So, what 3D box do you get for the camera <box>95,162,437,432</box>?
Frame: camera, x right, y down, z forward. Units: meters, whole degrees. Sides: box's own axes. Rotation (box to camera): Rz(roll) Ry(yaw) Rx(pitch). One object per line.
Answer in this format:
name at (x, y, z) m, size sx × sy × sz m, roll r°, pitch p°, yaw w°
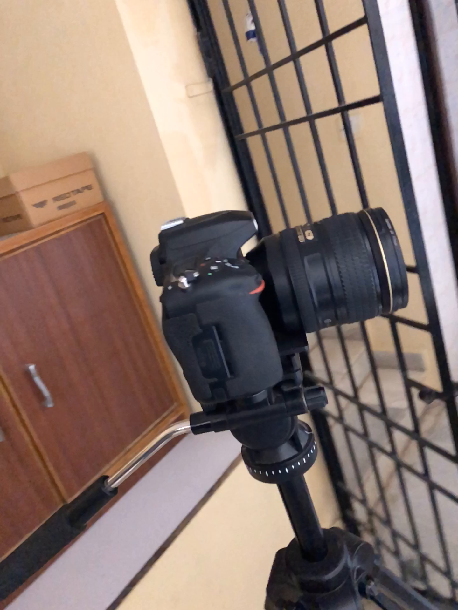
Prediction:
camera at (0.027, -0.019, 0.367) m, size 0.171 × 0.105 × 0.171 m, roll -15°, pitch 18°, yaw 9°
